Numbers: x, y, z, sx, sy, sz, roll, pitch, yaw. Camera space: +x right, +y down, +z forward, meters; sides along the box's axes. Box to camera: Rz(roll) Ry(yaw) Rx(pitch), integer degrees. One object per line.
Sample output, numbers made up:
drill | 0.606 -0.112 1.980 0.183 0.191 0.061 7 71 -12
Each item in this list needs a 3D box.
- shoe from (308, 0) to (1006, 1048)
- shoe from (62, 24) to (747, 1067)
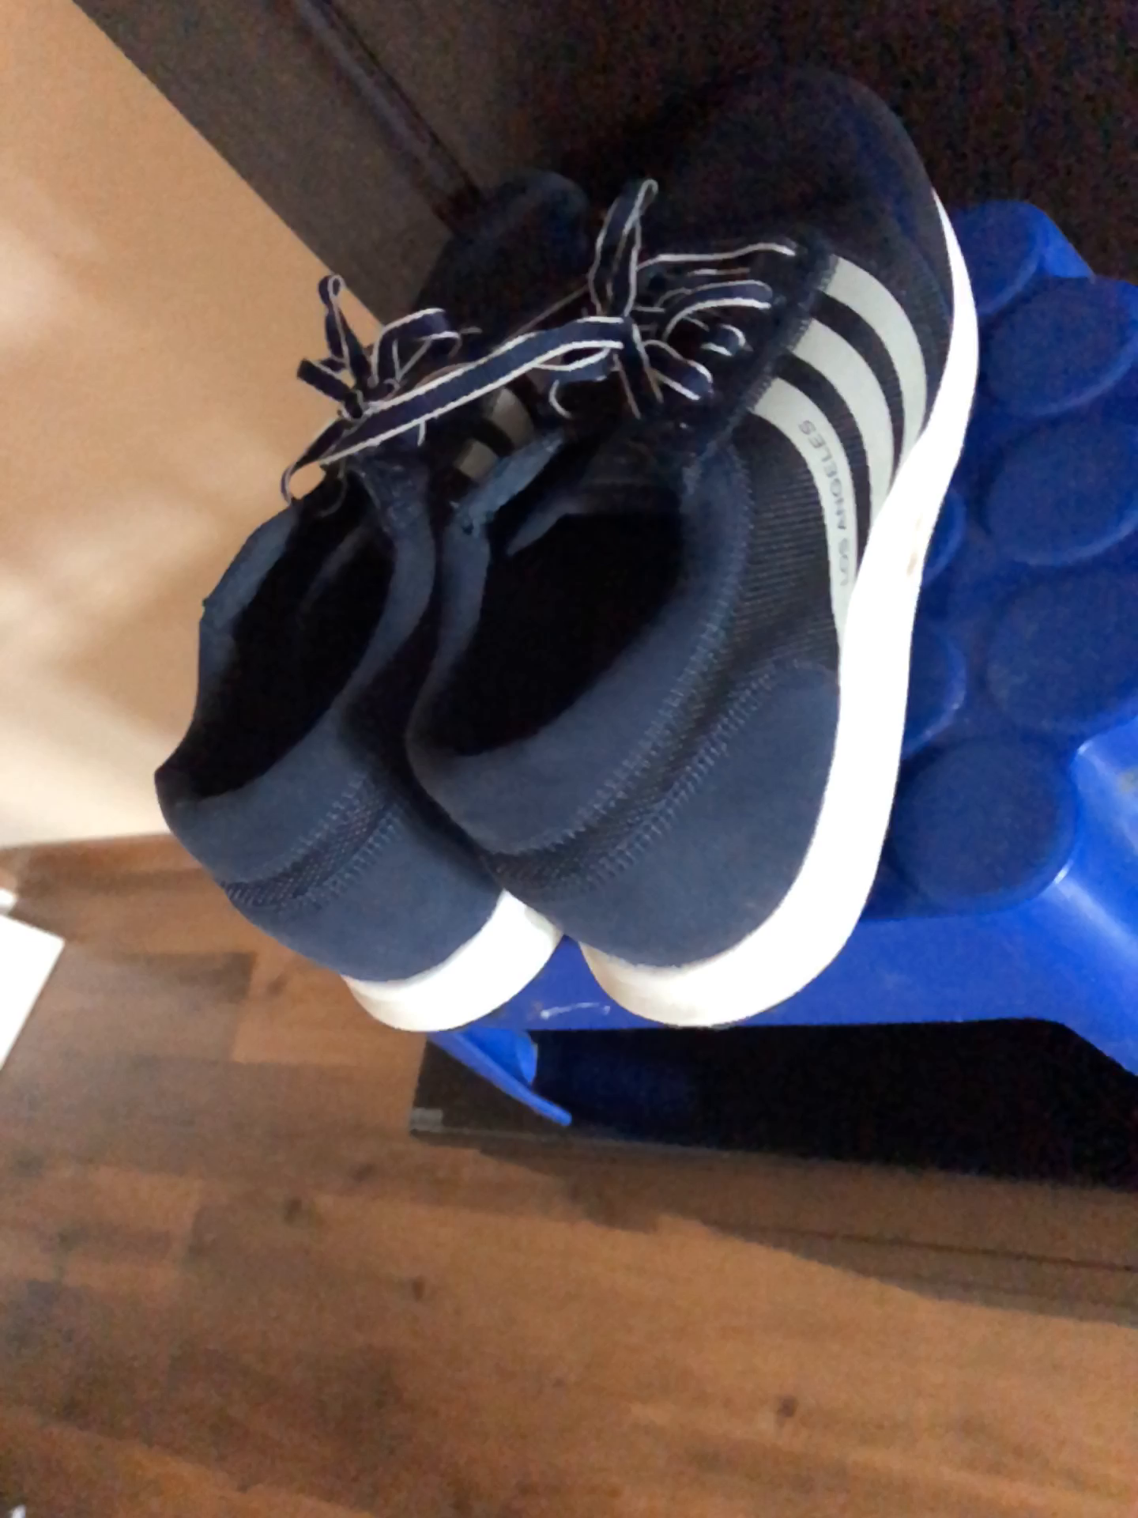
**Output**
shoe | 0.040 -0.070 0.326 0.110 0.109 0.261 -8 60 33
shoe | -0.029 -0.057 0.363 0.110 0.109 0.261 -11 59 31
